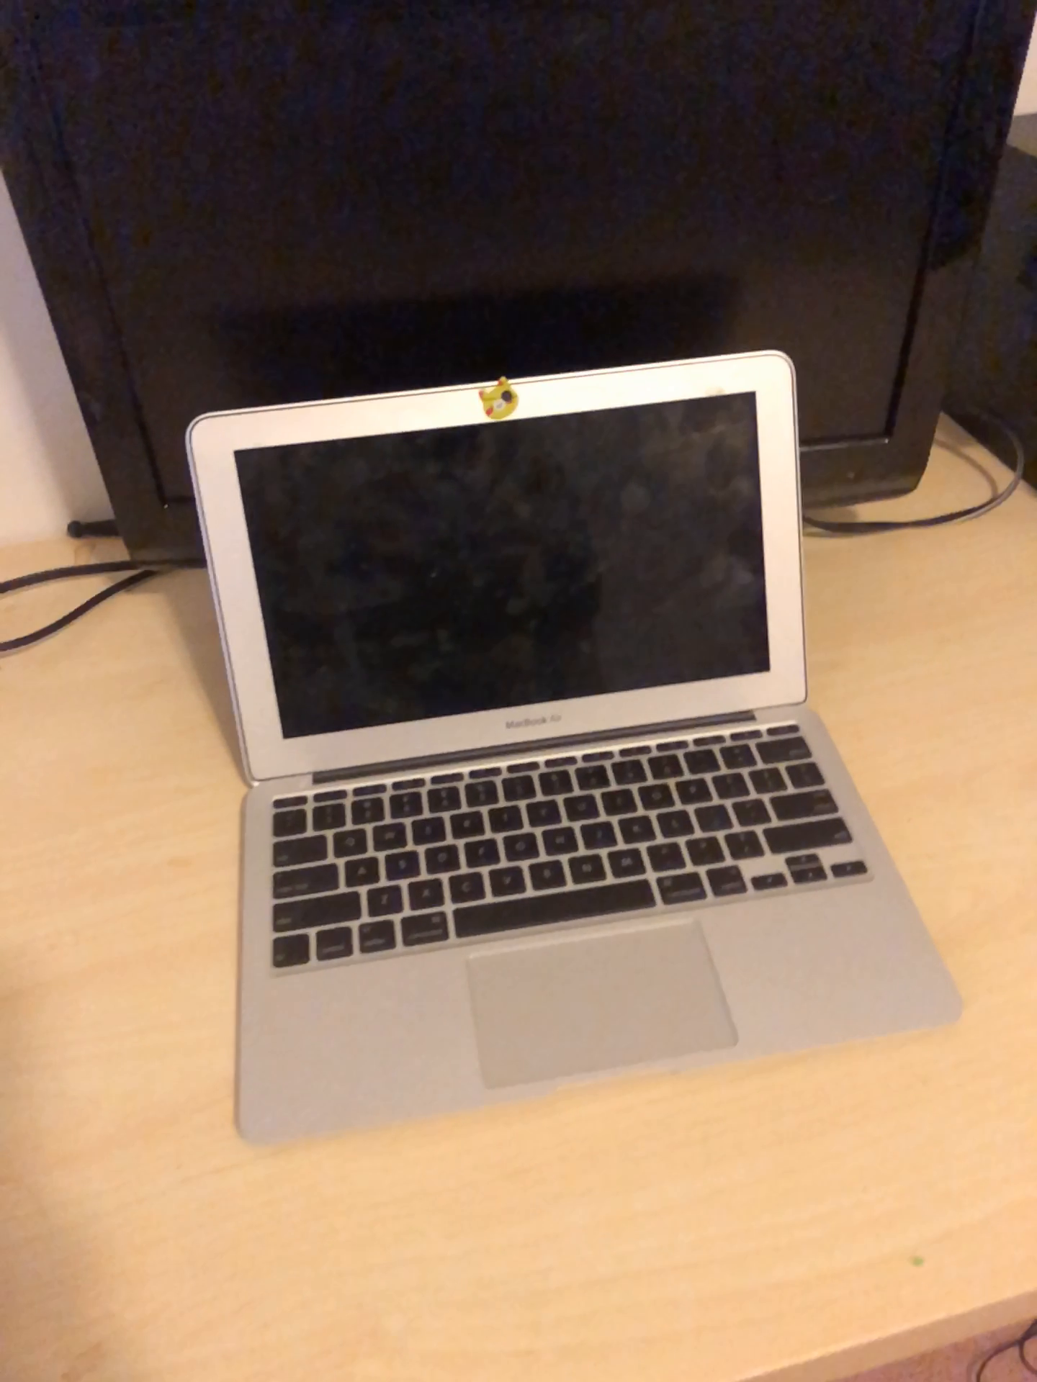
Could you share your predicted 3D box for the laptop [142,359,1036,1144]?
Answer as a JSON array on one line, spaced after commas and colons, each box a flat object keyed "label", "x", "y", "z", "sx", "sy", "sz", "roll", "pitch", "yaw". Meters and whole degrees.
[{"label": "laptop", "x": 0.015, "y": 0.005, "z": 0.505, "sx": 0.290, "sy": 0.160, "sz": 0.276, "roll": -8, "pitch": 43, "yaw": -5}]
